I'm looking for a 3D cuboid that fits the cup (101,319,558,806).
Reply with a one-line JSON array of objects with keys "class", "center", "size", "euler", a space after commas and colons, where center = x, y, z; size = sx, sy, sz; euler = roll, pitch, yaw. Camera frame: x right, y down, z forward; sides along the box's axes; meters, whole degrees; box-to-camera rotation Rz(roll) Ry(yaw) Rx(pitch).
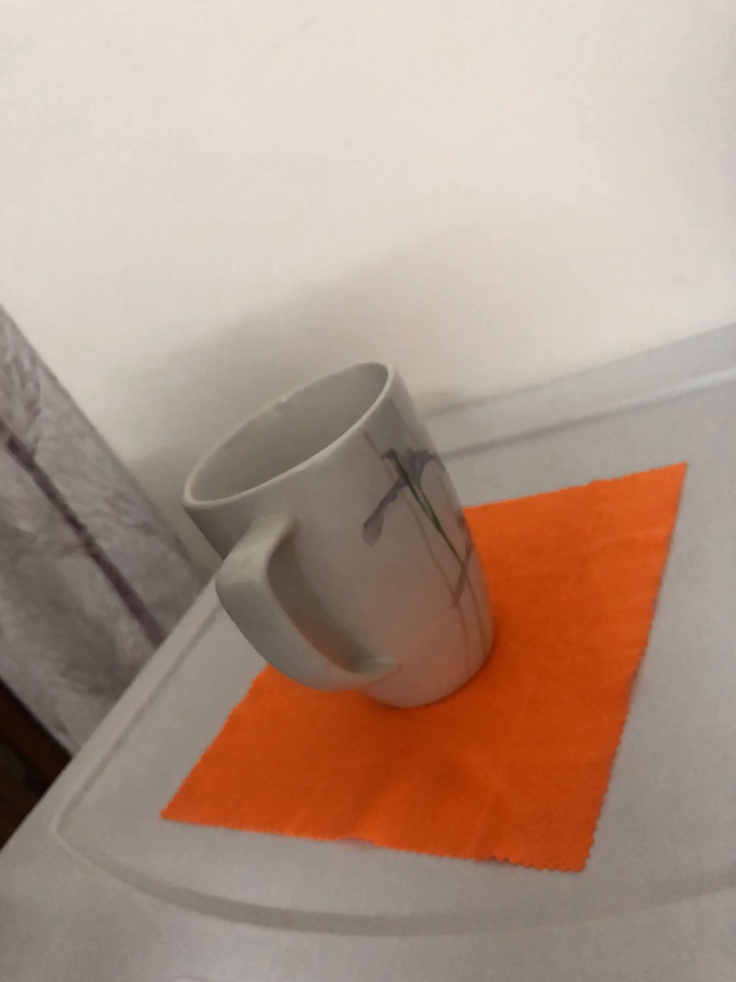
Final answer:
[{"class": "cup", "center": [-0.002, 0.024, 0.291], "size": [0.090, 0.100, 0.120], "euler": [-18, 26, 29]}]
